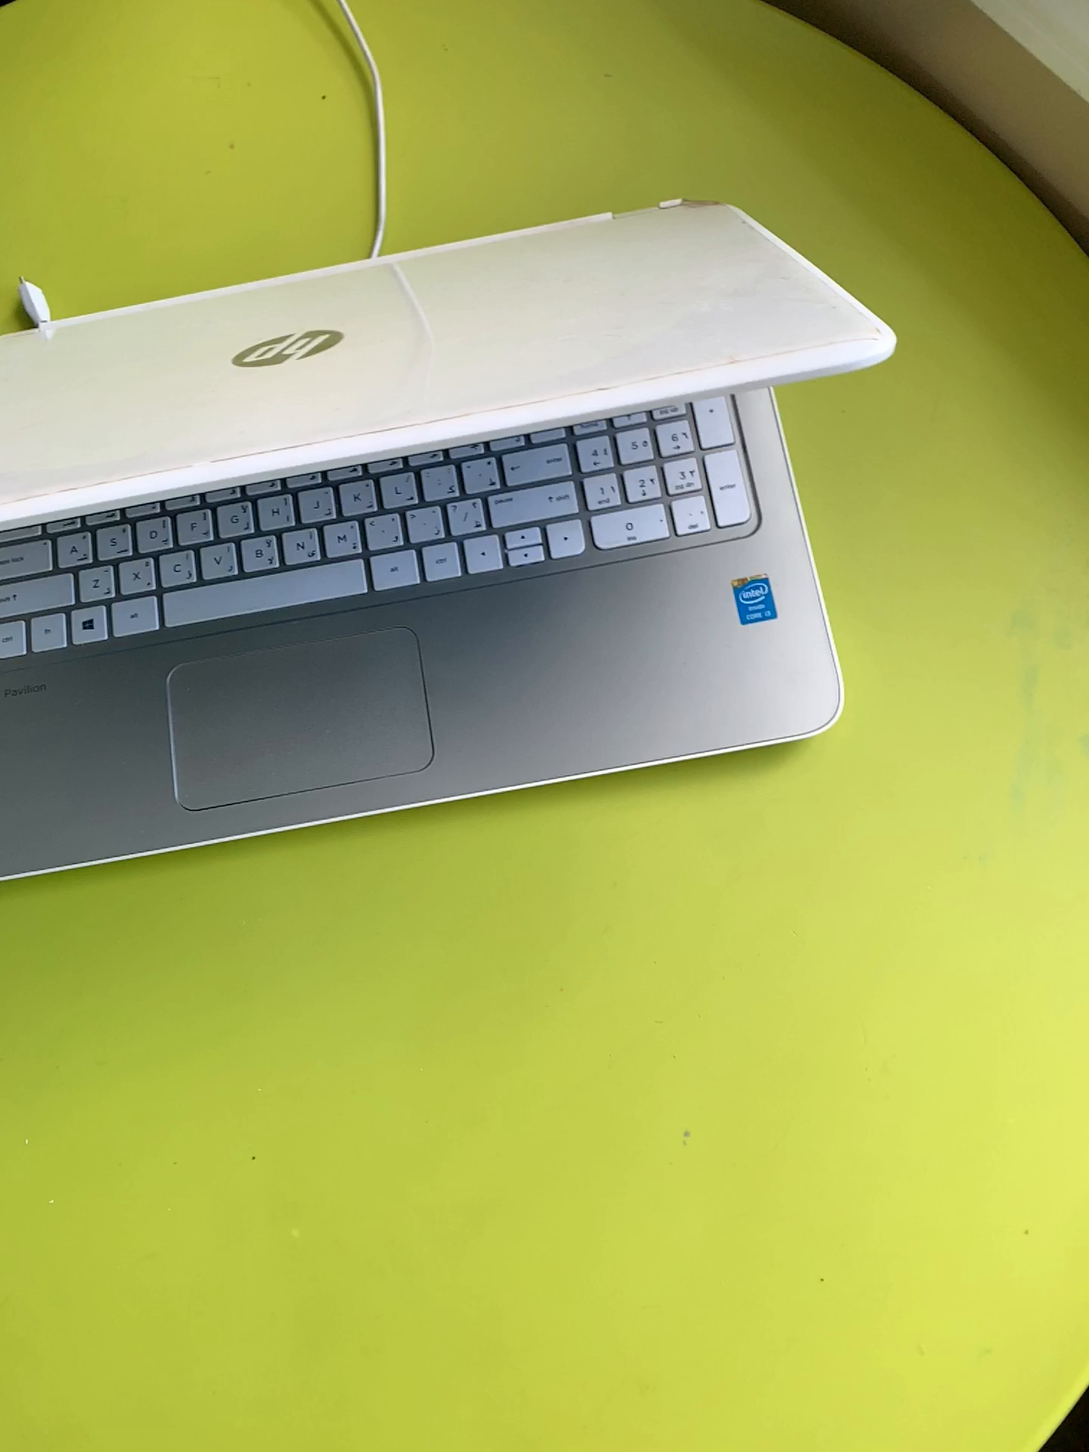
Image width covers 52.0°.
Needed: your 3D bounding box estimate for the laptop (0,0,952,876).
[{"bbox_3d":[-0.087,-0.107,0.407,0.367,0.163,0.243,-10,75,1],"label":"laptop"}]
